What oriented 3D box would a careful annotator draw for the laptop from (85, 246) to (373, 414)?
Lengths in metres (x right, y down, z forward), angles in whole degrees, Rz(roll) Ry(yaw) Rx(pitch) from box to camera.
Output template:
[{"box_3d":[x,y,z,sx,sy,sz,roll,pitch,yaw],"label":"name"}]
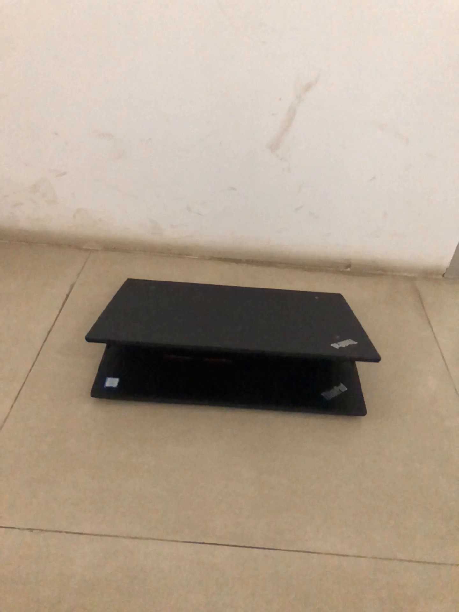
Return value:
[{"box_3d":[0.001,0.023,0.719,0.349,0.071,0.238,3,41,0],"label":"laptop"}]
